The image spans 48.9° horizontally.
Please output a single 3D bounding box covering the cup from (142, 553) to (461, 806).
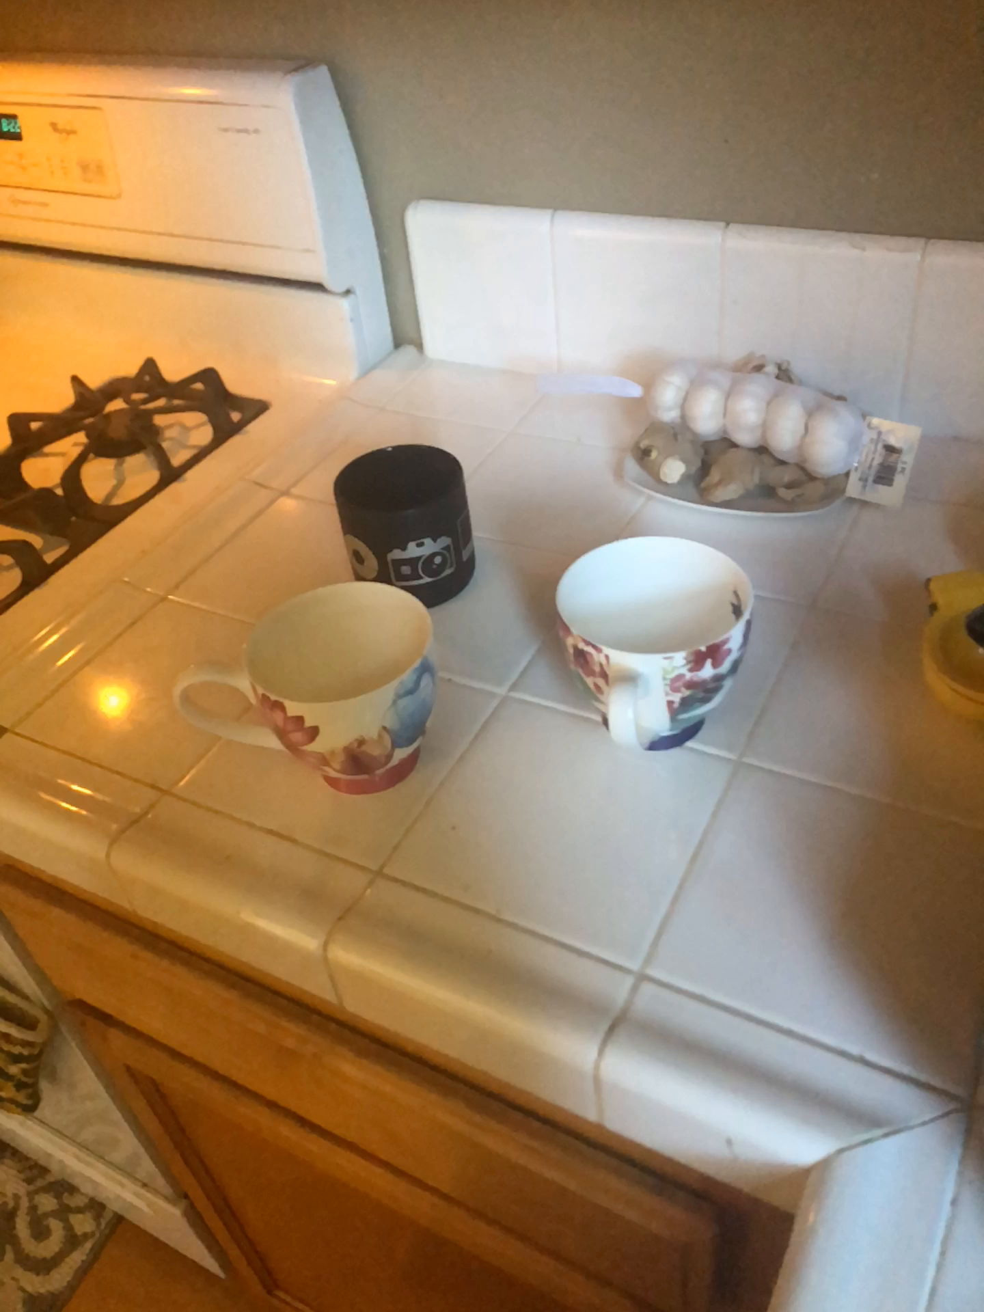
[{"bbox_3d":[-0.099,0.012,0.614,0.150,0.079,0.111,-4,41,5],"label":"cup"}]

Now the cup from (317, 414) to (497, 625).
[{"bbox_3d":[-0.062,-0.101,0.774,0.110,0.069,0.141,-8,41,-1],"label":"cup"}]

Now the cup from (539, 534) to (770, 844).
[{"bbox_3d":[0.095,0.013,0.604,0.110,0.089,0.151,2,42,12],"label":"cup"}]
